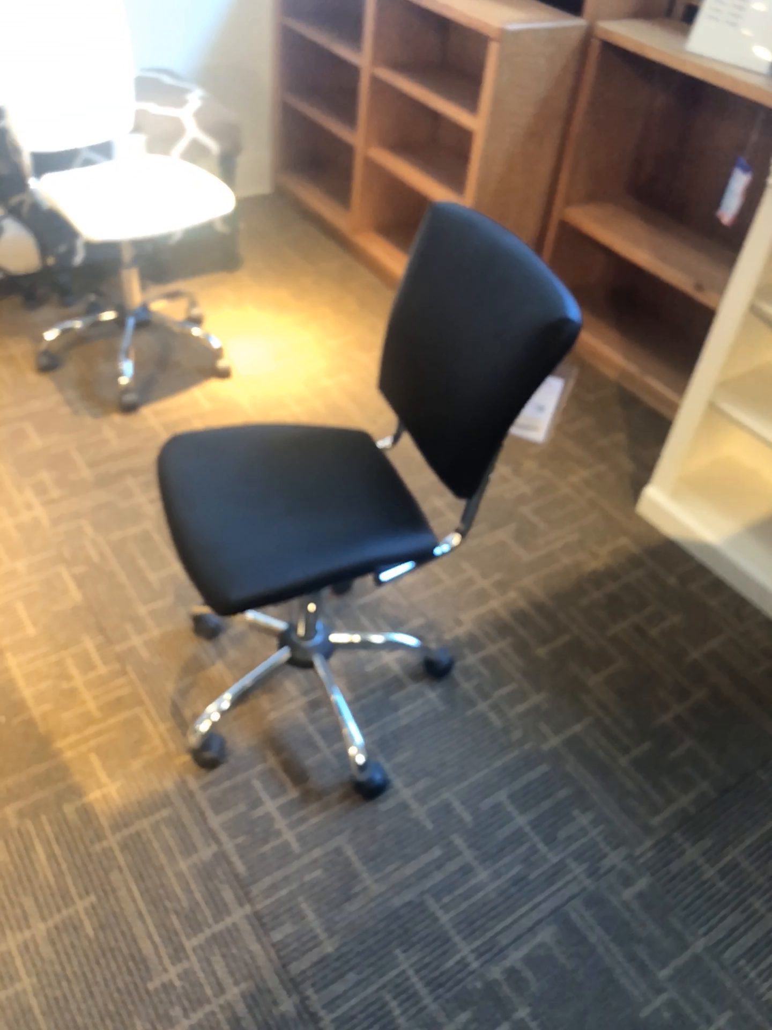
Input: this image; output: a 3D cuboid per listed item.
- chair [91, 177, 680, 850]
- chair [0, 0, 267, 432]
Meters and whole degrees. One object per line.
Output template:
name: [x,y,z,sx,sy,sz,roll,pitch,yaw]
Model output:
chair: [-0.069,-0.011,1.409,0.608,0.826,0.575,-12,45,-20]
chair: [-0.738,-0.841,2.330,0.585,0.916,0.608,-26,51,-32]
